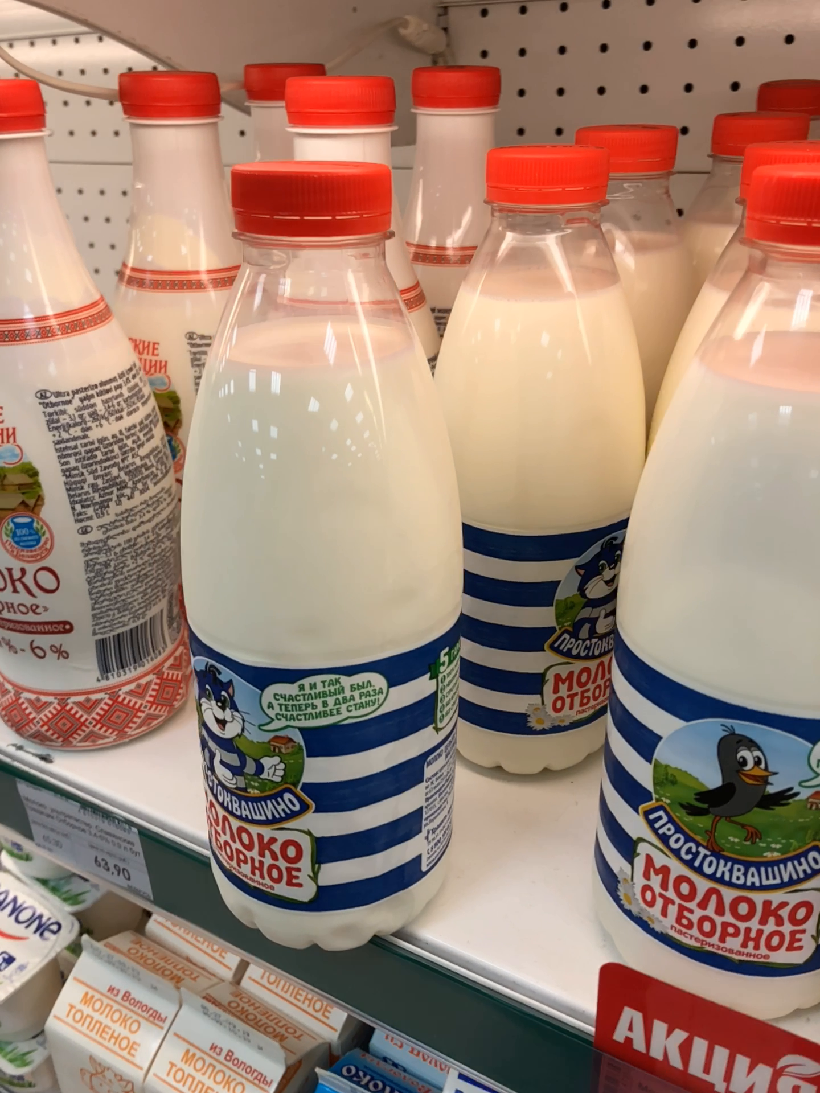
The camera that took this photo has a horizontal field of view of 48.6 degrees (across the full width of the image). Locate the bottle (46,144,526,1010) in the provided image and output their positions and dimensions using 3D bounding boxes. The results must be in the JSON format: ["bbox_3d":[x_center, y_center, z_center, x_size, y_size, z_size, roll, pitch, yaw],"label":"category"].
[{"bbox_3d":[-0.033,0.005,0.273,0.090,0.228,0.080,18,28,36],"label":"bottle"}]
